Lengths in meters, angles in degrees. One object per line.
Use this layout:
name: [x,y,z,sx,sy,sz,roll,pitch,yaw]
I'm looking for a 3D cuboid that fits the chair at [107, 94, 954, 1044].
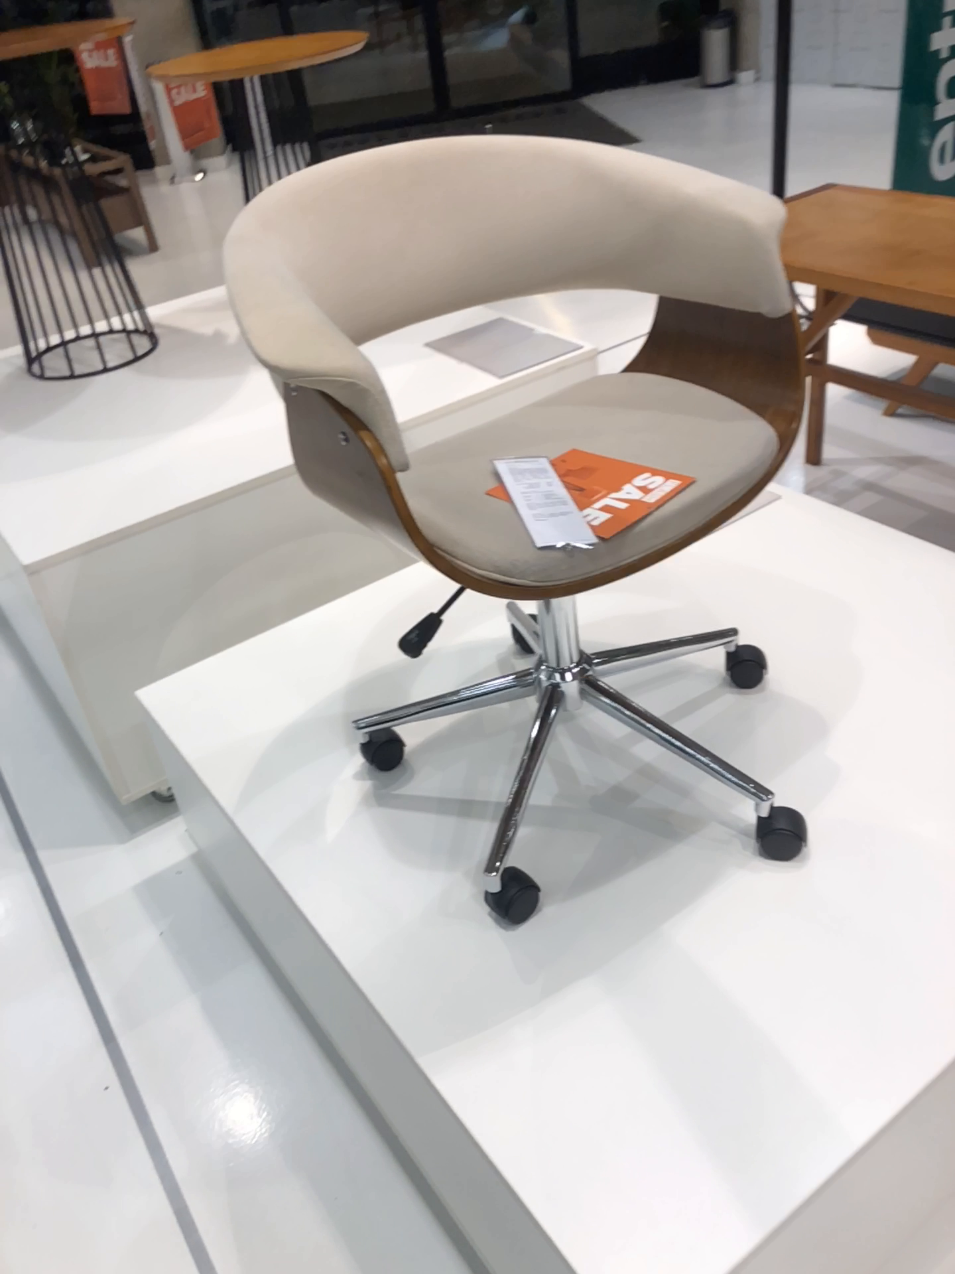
chair: [0.099,-0.157,1.222,0.632,0.724,0.674,-28,38,-25]
